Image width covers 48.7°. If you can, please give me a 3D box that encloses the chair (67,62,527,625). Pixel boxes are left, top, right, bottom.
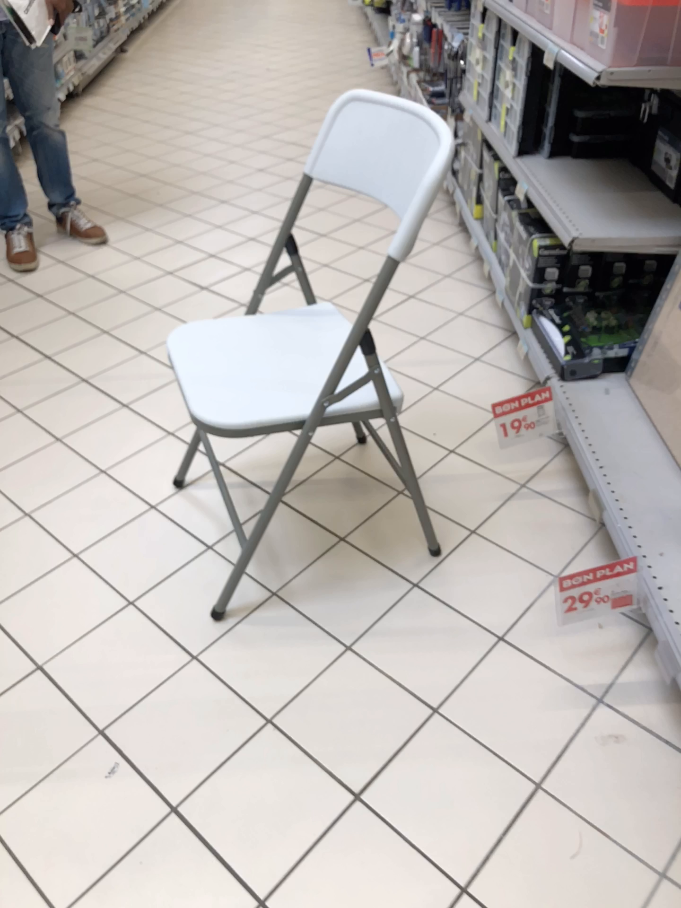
[{"bbox_3d":[-0.093,-0.218,1.358,0.561,0.746,0.542,-14,39,-14],"label":"chair"}]
